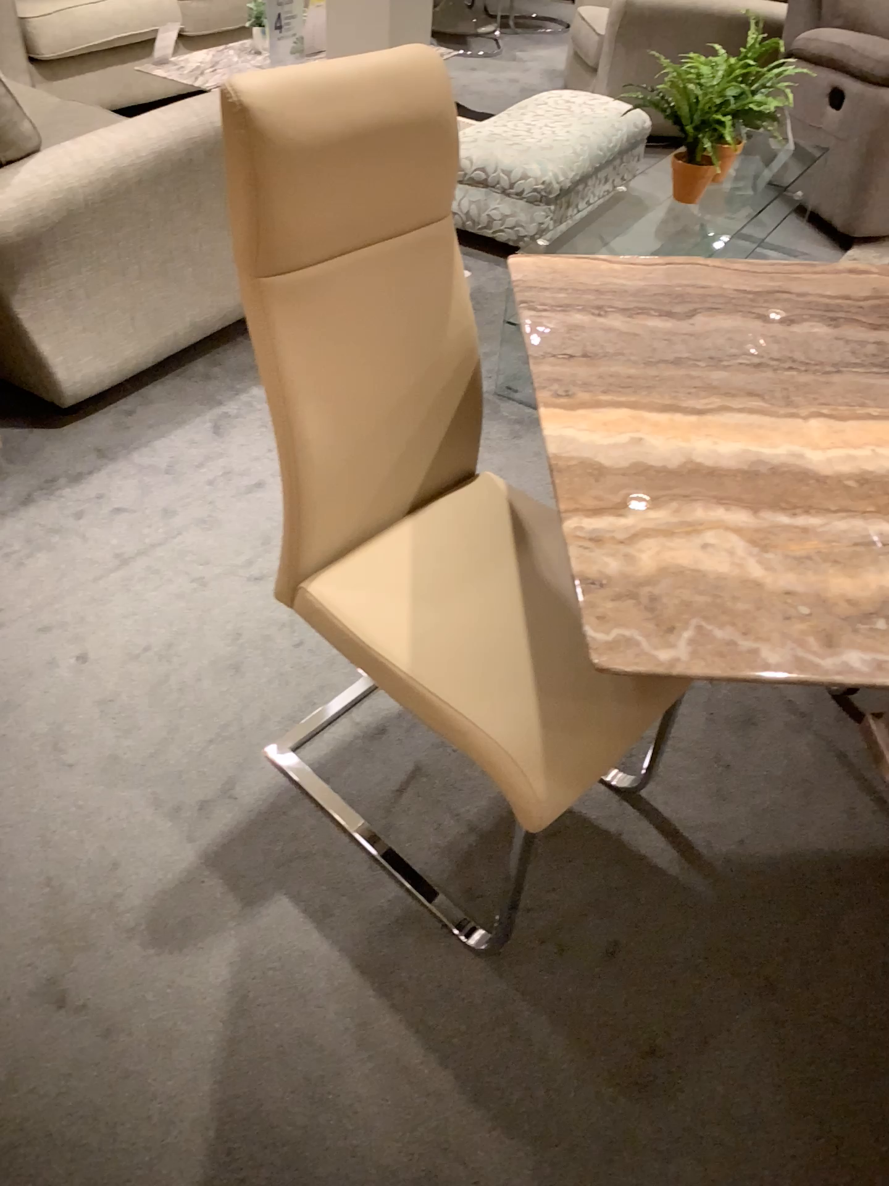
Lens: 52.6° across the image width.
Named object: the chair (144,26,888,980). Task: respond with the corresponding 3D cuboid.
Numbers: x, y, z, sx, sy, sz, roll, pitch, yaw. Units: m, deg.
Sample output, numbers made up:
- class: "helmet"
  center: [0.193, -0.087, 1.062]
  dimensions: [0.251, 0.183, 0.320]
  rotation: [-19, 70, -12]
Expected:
- class: "chair"
  center: [0.071, -0.099, 1.196]
  dimensions: [0.585, 0.981, 0.530]
  rotation: [34, 49, 27]
